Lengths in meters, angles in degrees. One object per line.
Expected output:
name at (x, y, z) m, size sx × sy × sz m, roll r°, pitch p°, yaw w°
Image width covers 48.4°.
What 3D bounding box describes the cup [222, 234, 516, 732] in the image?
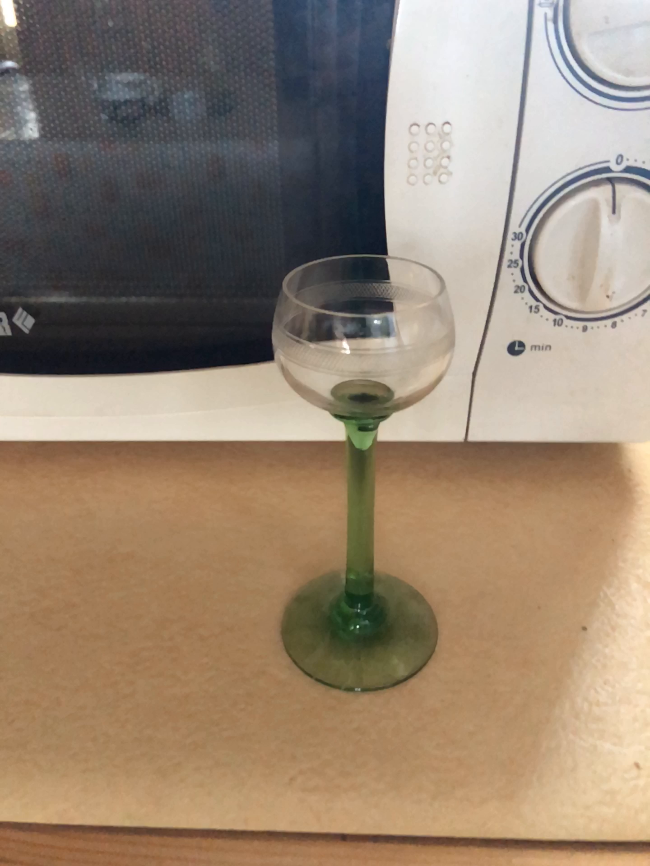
cup at (0.007, 0.017, 0.212) m, size 0.060 × 0.129 × 0.060 m, roll -1°, pitch 33°, yaw 0°
